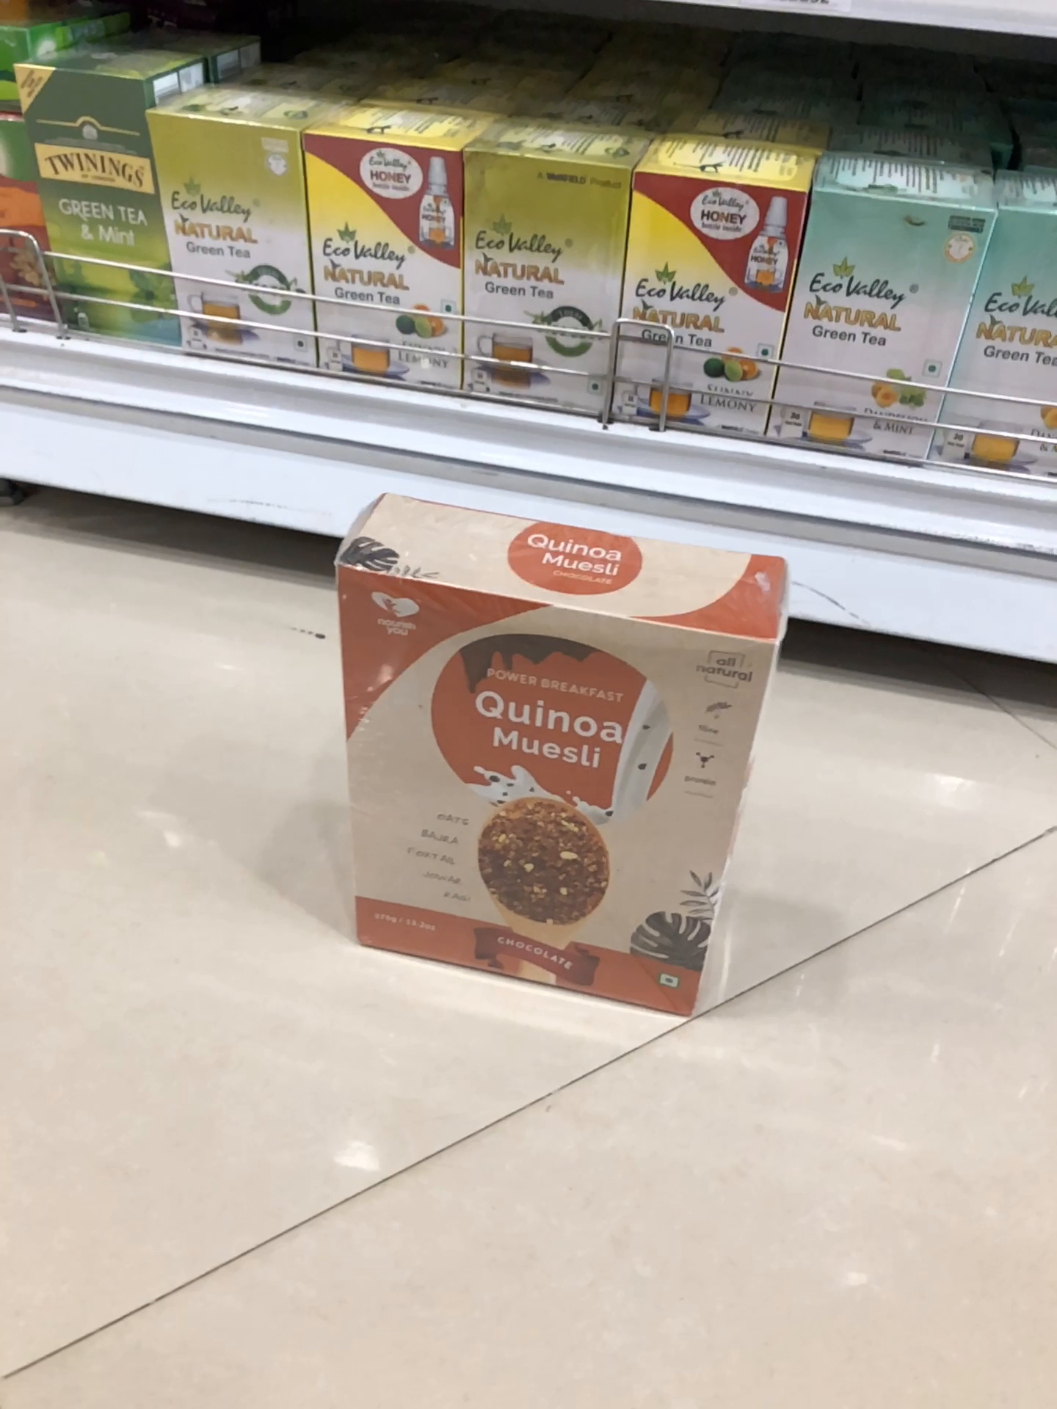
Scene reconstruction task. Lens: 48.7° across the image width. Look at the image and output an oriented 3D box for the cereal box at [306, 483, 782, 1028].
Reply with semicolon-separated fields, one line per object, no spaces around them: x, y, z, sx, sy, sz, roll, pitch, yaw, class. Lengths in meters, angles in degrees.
0.001;0.031;0.480;0.160;0.219;0.050;11;41;8;cereal box
